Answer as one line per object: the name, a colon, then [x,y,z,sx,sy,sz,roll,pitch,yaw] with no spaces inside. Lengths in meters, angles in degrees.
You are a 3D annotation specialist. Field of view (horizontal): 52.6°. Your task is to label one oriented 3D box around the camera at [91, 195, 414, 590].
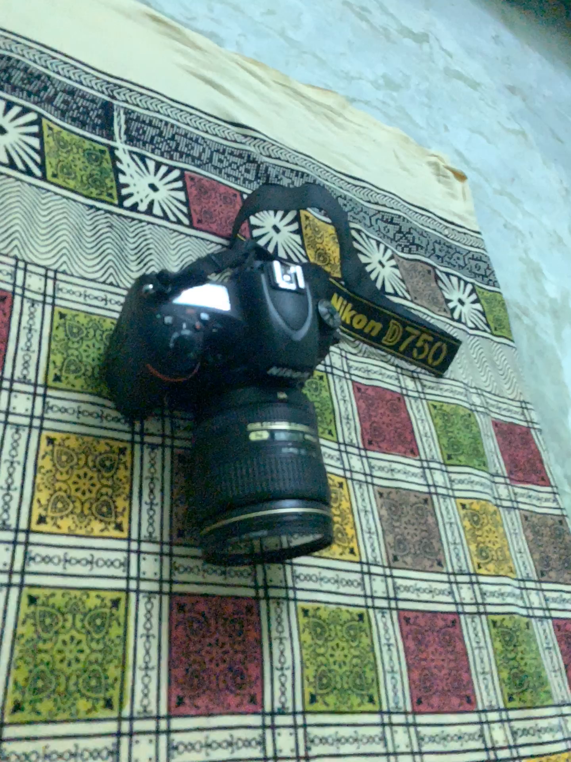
camera: [-0.033,0.010,0.348,0.140,0.100,0.190,6,58,-29]
